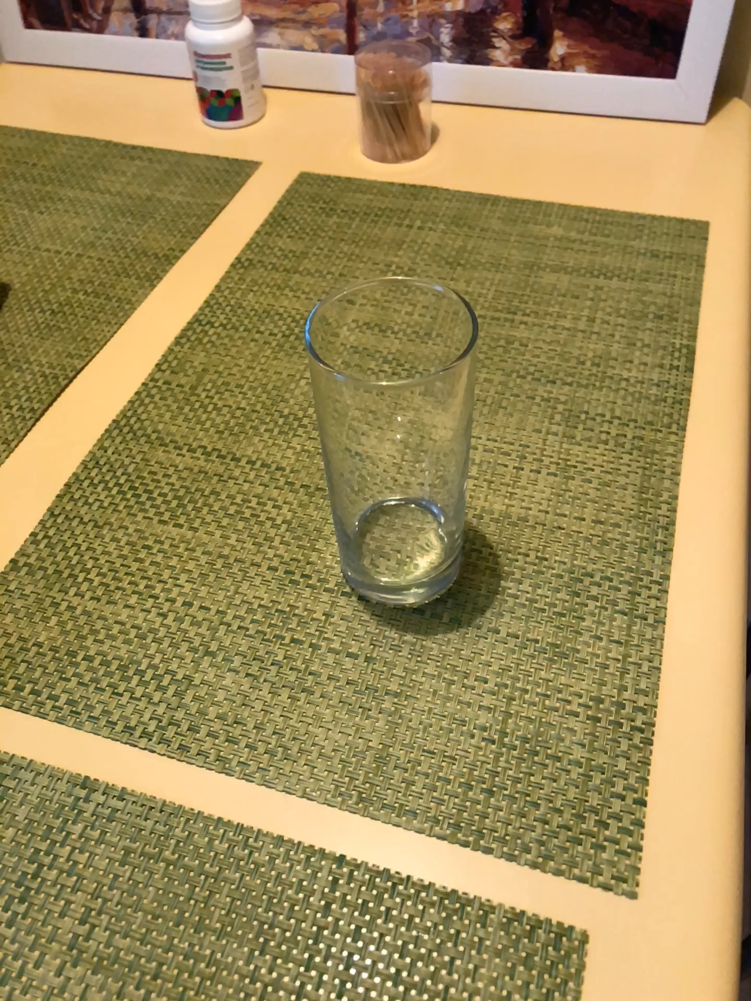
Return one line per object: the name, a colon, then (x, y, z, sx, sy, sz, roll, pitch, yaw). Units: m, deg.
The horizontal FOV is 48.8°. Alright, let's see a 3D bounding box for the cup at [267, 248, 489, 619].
cup: (0.006, -0.022, 0.342, 0.070, 0.139, 0.070, -1, 49, 1)
